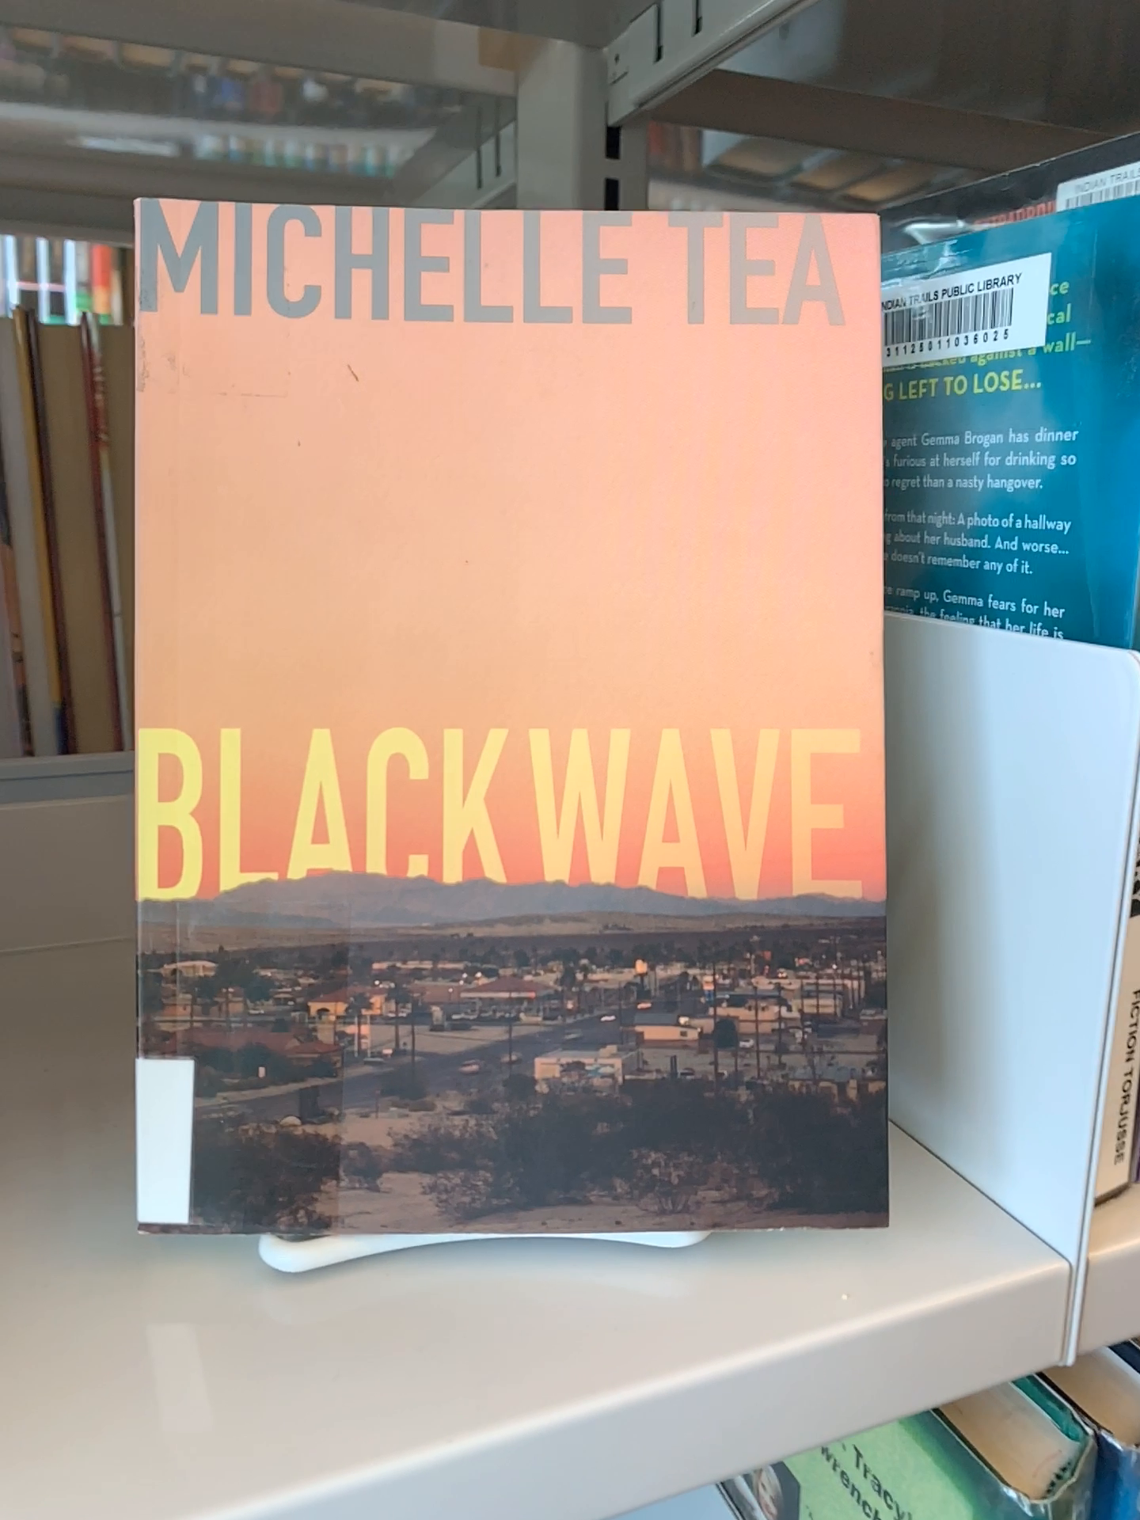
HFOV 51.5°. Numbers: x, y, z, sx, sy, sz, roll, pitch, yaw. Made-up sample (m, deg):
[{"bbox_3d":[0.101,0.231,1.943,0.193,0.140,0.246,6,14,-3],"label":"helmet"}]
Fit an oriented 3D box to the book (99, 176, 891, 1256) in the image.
[{"bbox_3d":[-0.014,-0.007,0.240,0.147,0.201,0.036,1,1,-1],"label":"book"}]
